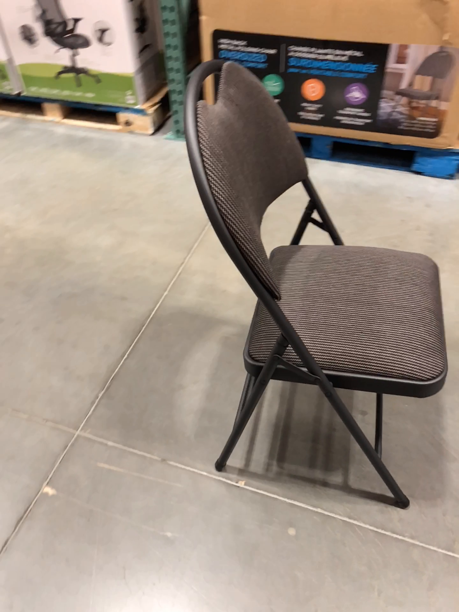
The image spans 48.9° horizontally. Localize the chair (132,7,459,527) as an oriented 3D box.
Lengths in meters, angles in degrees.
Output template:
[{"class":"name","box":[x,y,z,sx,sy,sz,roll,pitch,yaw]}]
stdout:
[{"class":"chair","box":[0.231,-0.047,1.044,0.560,0.866,0.522,10,45,12]}]
